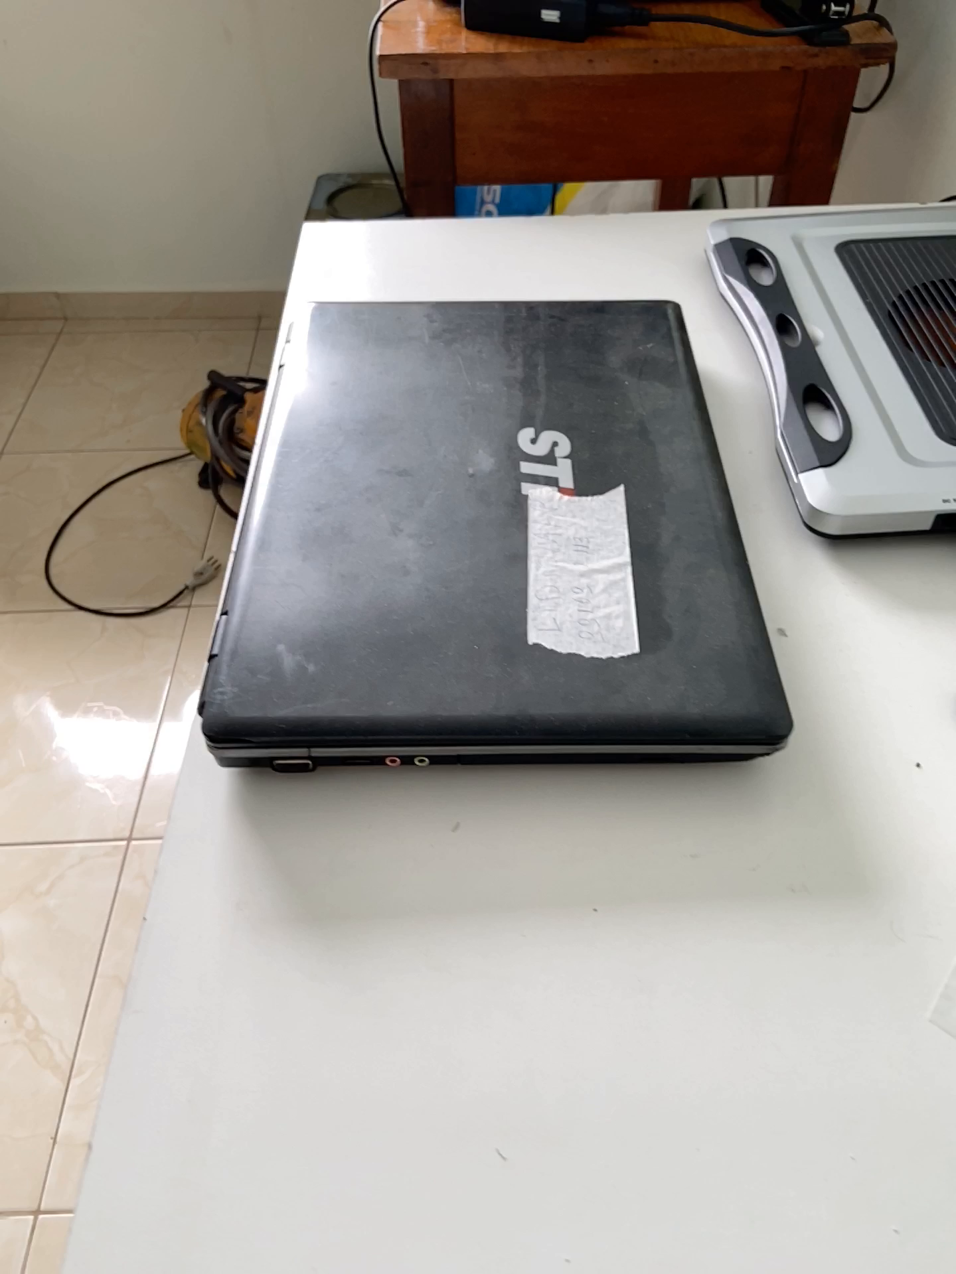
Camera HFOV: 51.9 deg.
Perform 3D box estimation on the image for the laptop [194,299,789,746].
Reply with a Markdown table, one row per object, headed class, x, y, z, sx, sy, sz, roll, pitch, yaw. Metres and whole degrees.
| class | x | y | z | sx | sy | sz | roll | pitch | yaw |
| --- | --- | --- | --- | --- | --- | --- | --- | --- | --- |
| laptop | 0.007 | -0.084 | 0.504 | 0.234 | 0.006 | 0.339 | 0 | 47 | 0 |
